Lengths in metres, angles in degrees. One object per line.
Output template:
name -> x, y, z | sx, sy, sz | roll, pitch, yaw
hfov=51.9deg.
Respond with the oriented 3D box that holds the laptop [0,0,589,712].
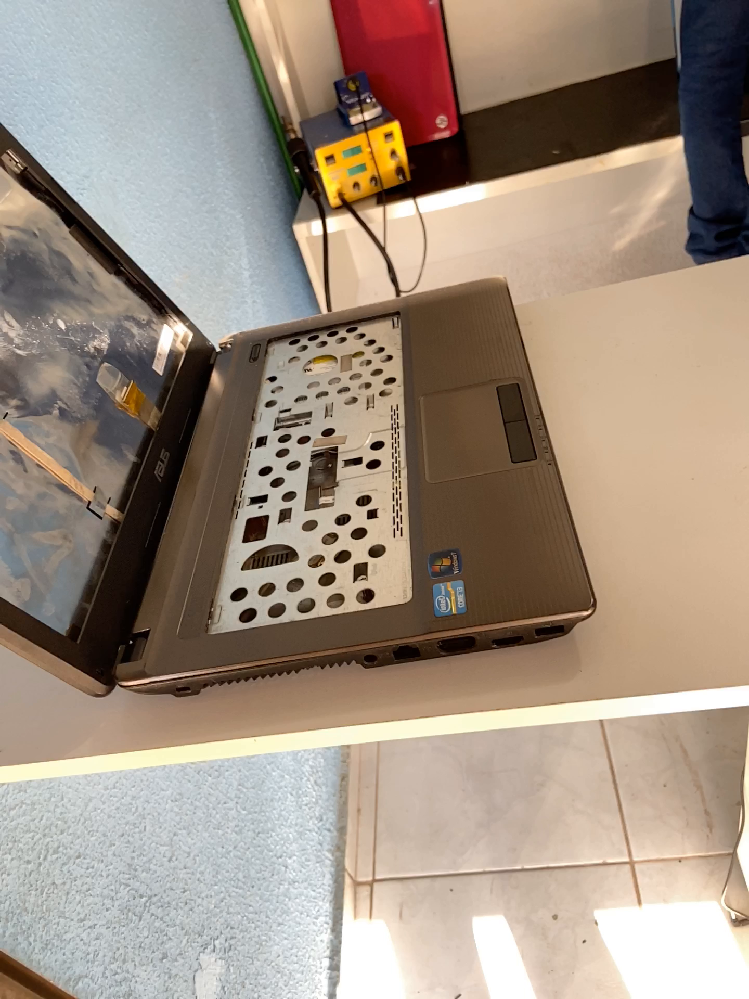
laptop -> -0.086, -0.106, 0.436 | 0.327, 0.202, 0.338 | -11, 40, 10
